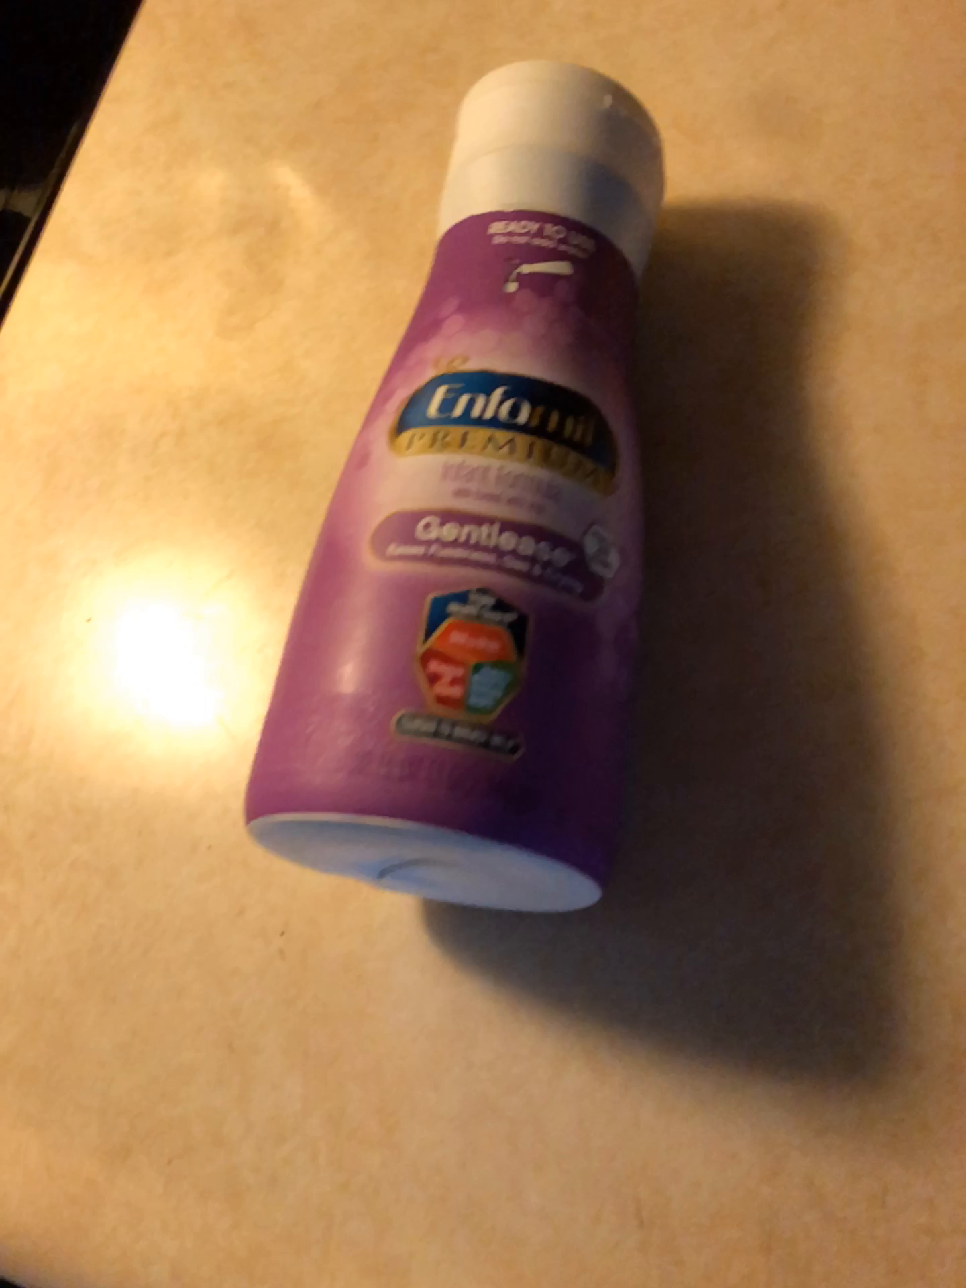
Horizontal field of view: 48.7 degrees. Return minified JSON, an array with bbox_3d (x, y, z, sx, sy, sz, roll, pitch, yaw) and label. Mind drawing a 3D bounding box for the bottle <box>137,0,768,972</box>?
[{"bbox_3d":[0.005,-0.066,0.287,0.090,0.100,0.280,10,71,3],"label":"bottle"}]
